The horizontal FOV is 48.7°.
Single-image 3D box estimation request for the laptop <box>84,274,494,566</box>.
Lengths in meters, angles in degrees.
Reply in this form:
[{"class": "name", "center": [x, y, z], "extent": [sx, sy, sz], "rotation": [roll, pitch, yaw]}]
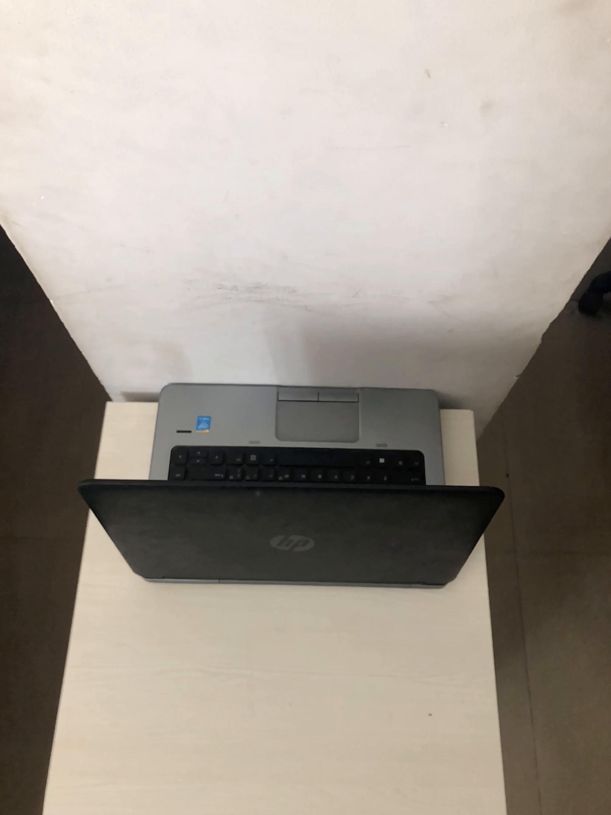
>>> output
[{"class": "laptop", "center": [-0.009, 0.027, 0.660], "extent": [0.317, 0.226, 0.204], "rotation": [1, 68, 0]}]
